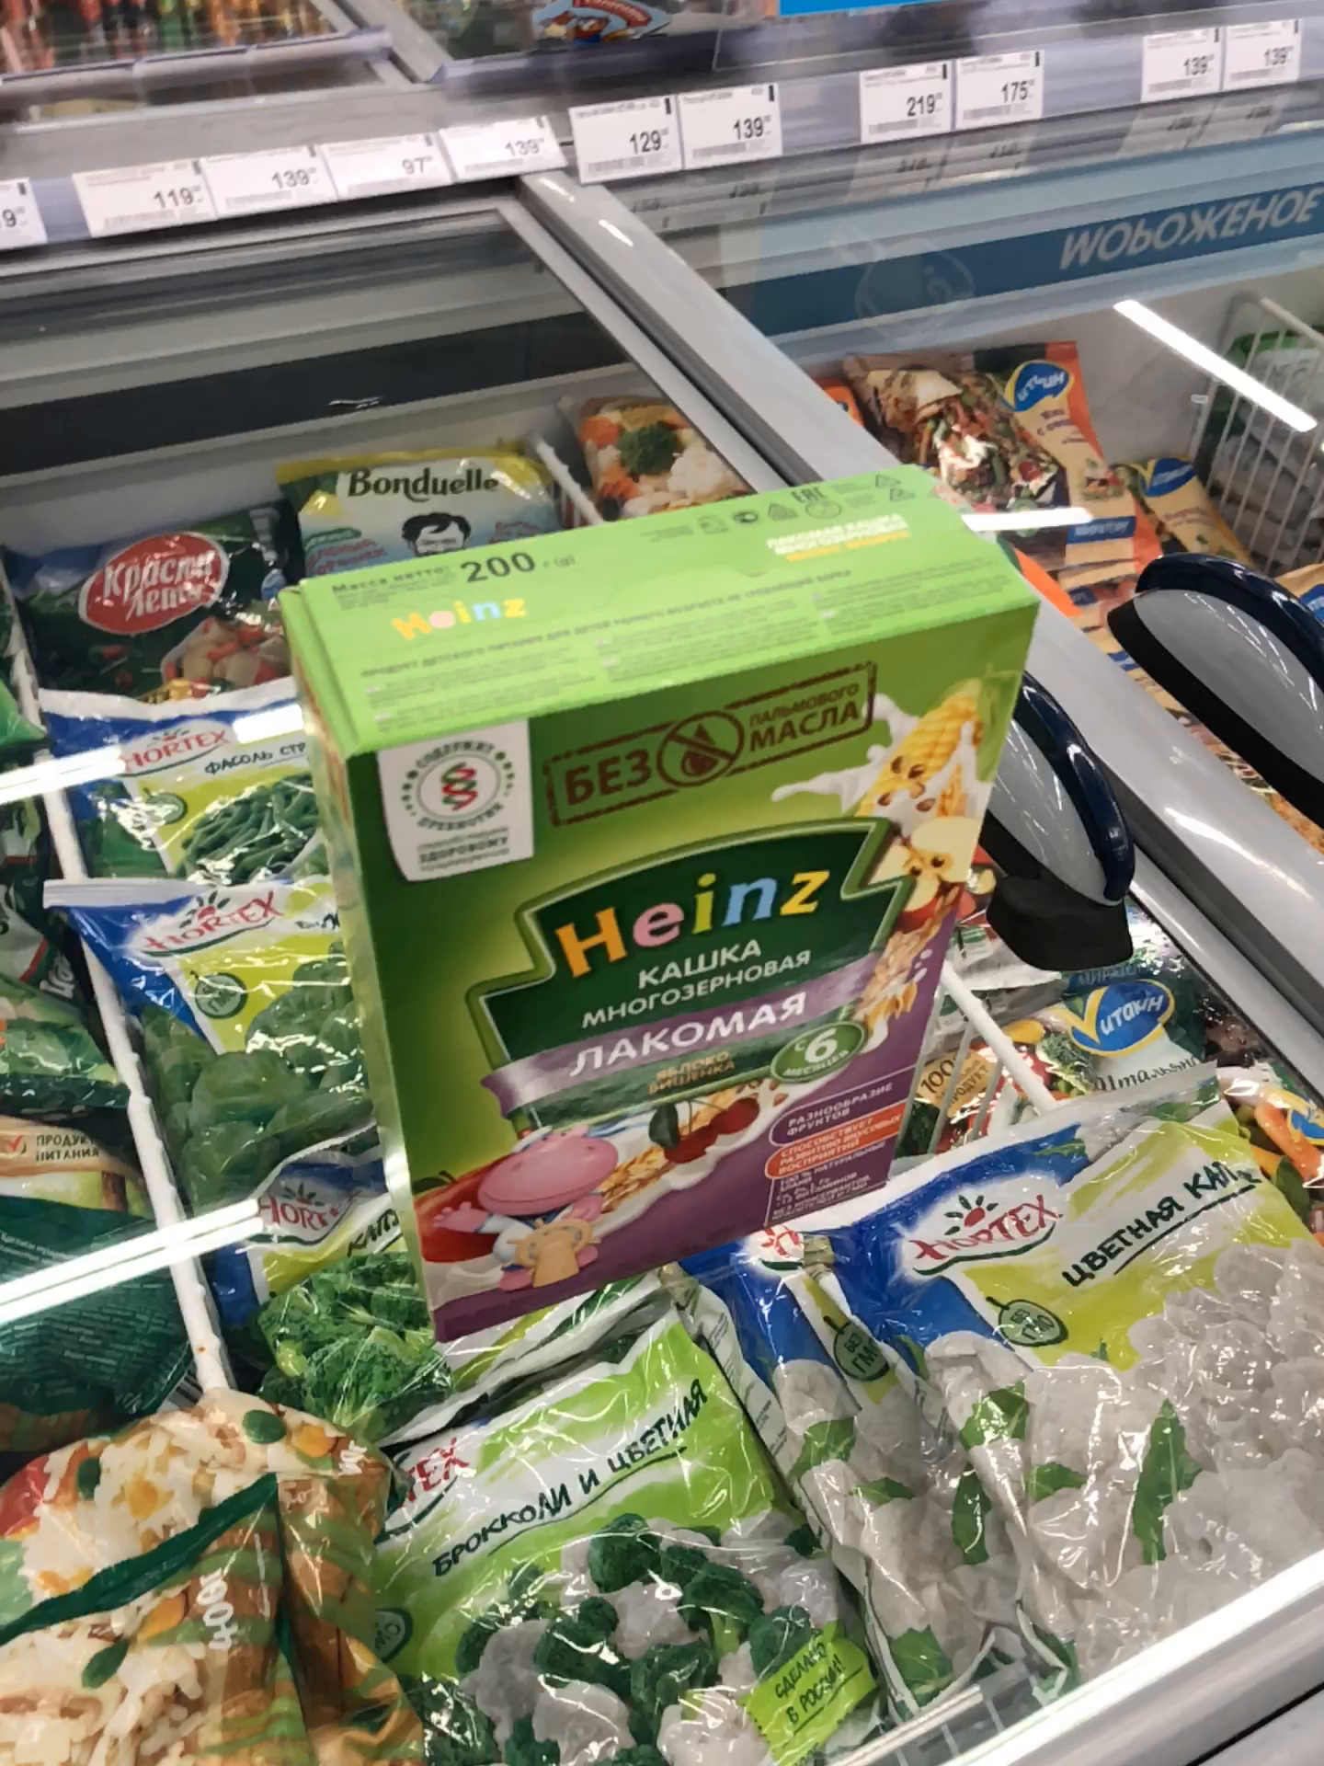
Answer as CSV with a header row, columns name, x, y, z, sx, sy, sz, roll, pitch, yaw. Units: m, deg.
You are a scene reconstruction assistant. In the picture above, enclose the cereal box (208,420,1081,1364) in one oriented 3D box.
name,x,y,z,sx,sy,sz,roll,pitch,yaw
cereal box,-0.005,0.013,0.319,0.140,0.199,0.050,-15,48,-16
